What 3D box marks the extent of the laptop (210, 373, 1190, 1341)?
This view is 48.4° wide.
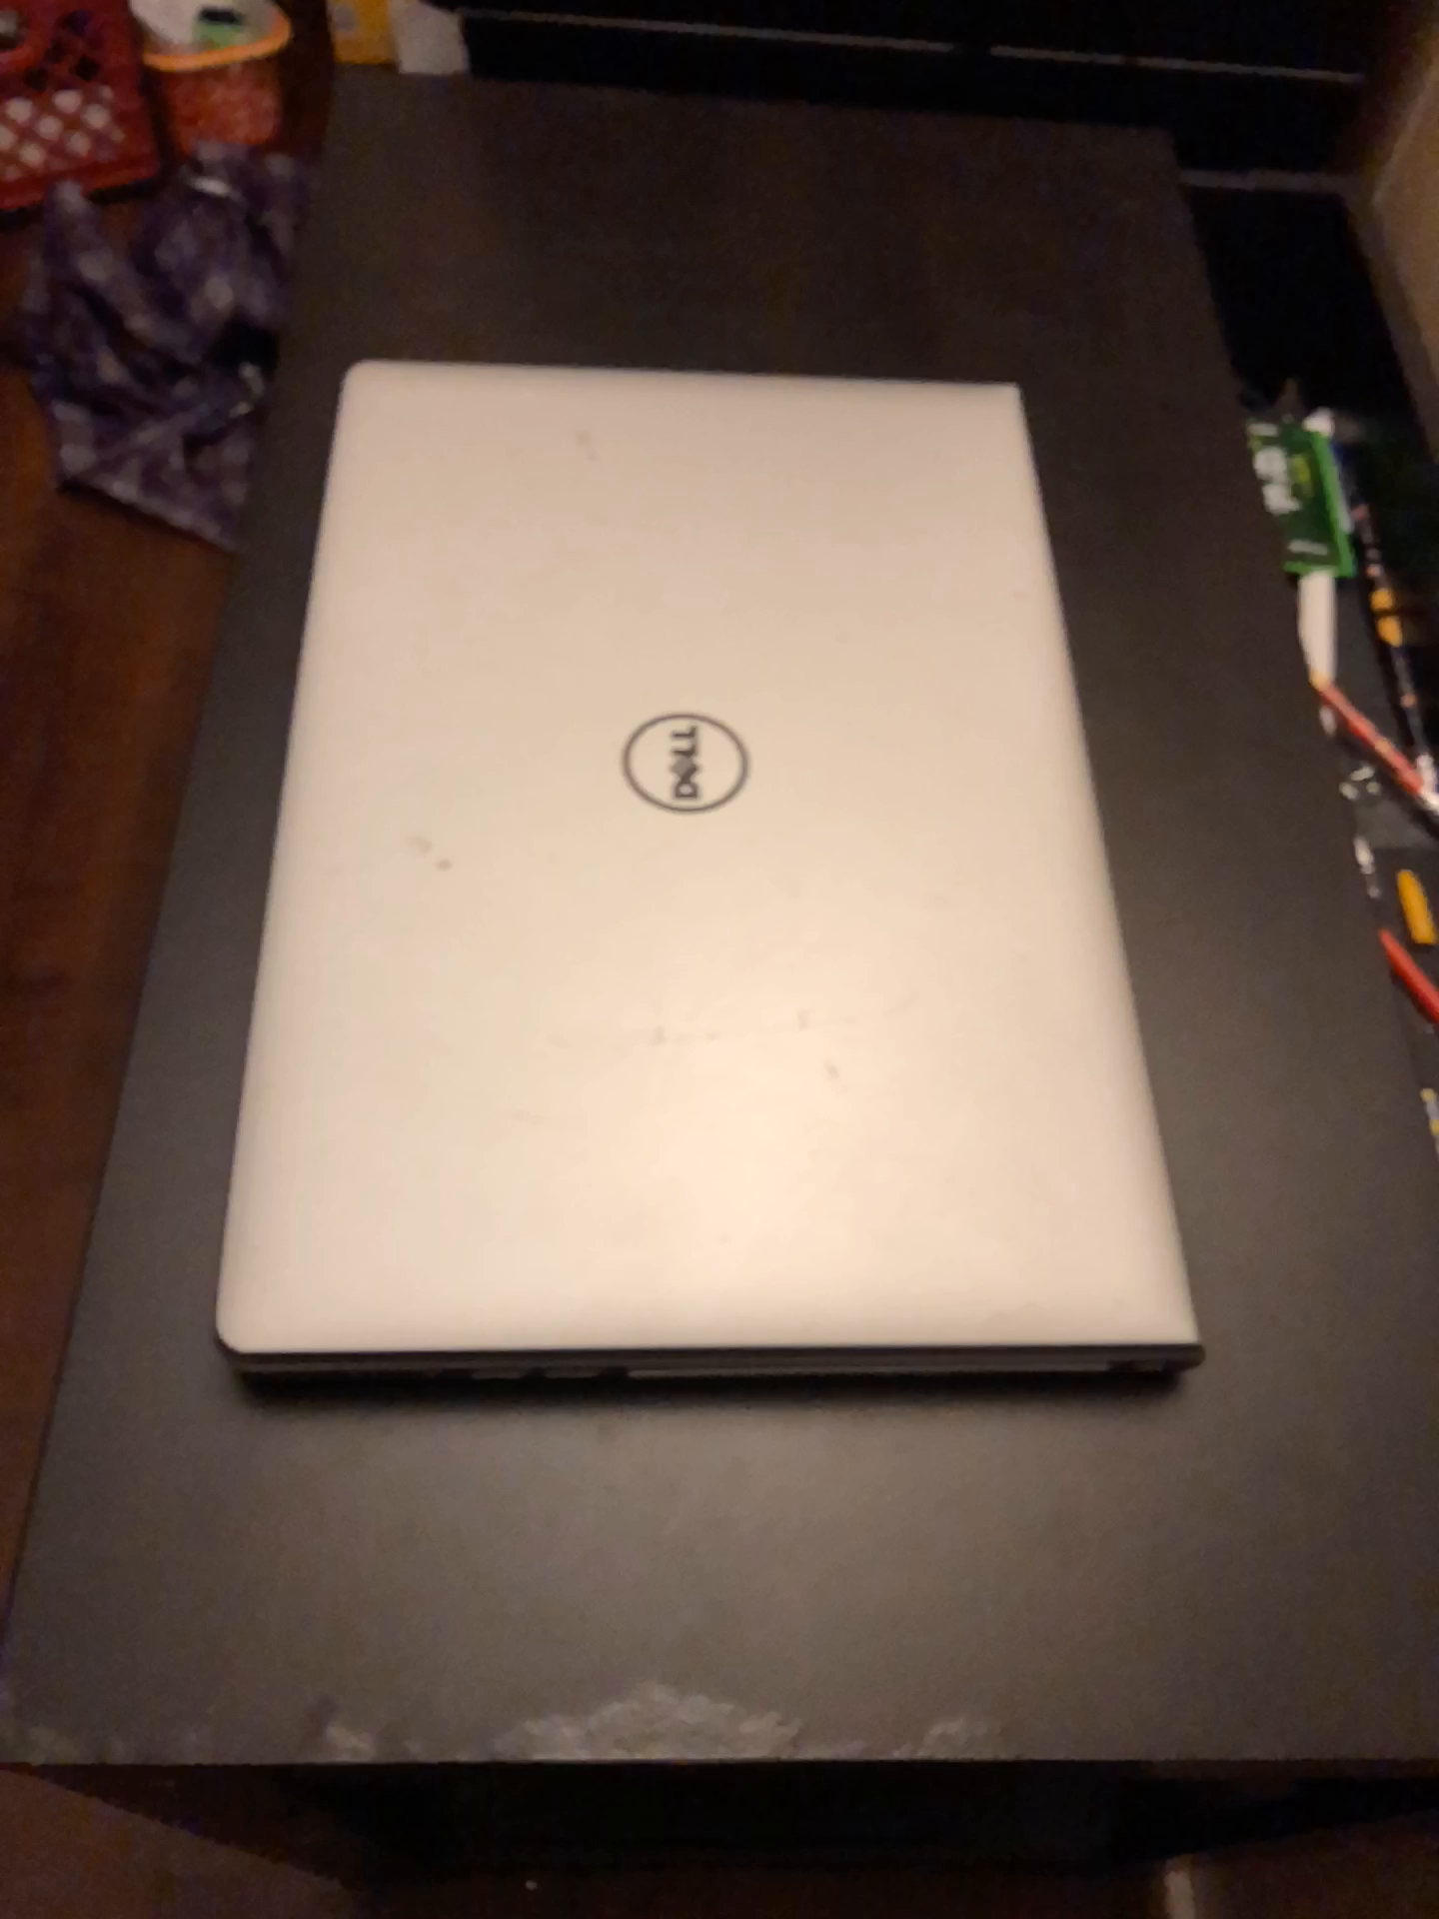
[{"bbox_3d":[-0.006,-0.061,0.508,0.249,0.003,0.372,1,57,-4],"label":"laptop"}]
